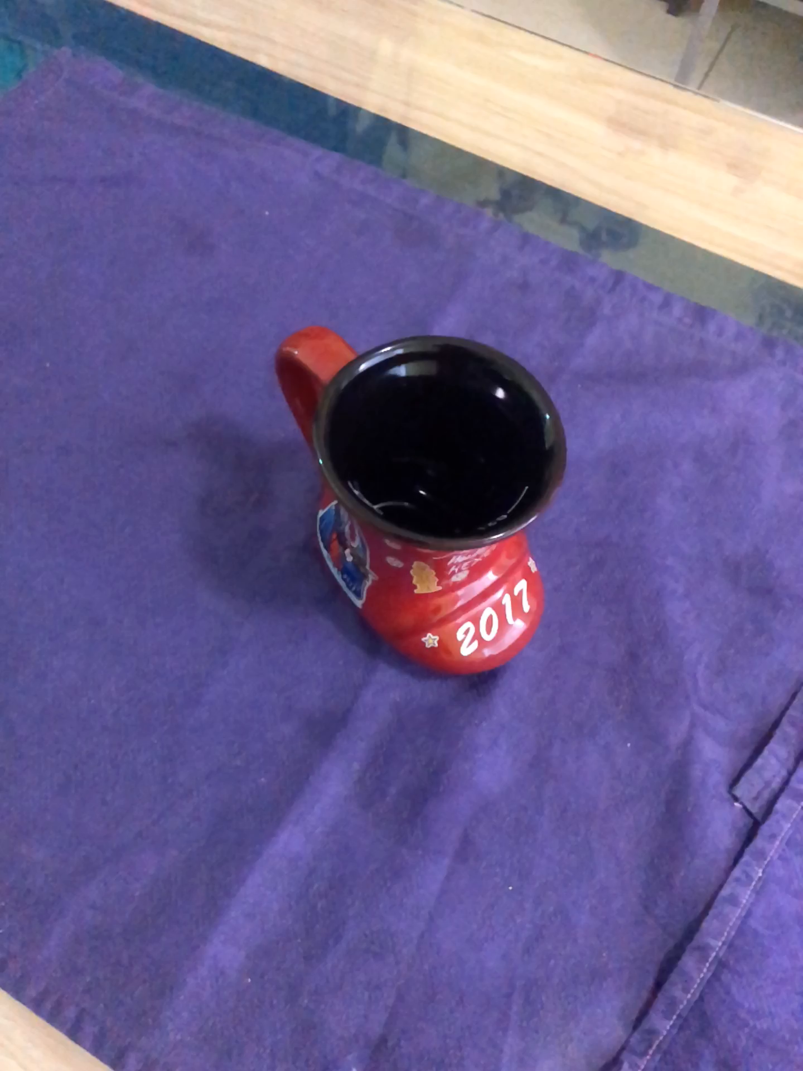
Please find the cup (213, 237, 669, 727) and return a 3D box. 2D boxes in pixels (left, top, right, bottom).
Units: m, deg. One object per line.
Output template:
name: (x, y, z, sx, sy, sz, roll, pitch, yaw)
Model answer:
cup: (0.007, -0.016, 0.299, 0.070, 0.090, 0.120, -37, 70, -21)
